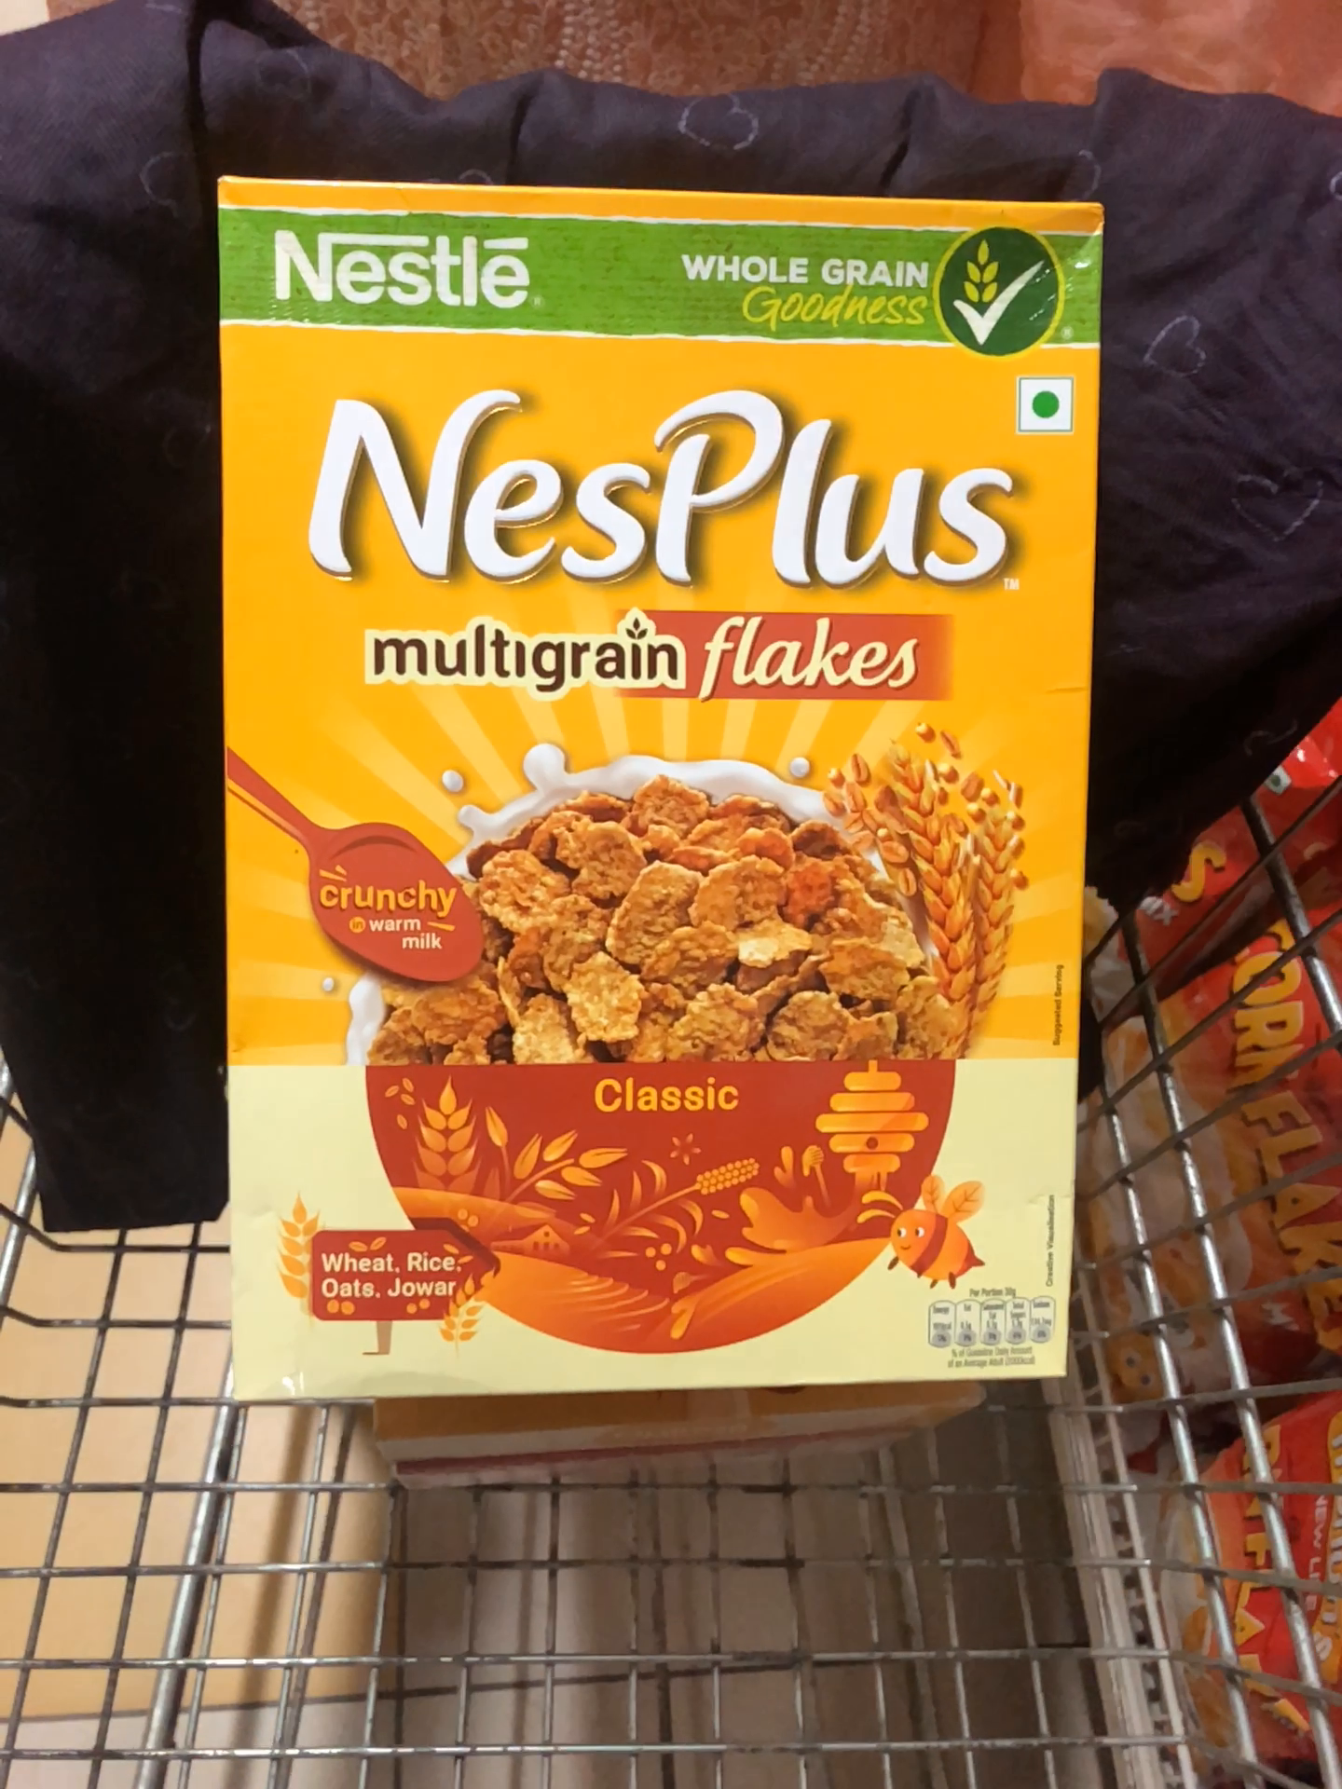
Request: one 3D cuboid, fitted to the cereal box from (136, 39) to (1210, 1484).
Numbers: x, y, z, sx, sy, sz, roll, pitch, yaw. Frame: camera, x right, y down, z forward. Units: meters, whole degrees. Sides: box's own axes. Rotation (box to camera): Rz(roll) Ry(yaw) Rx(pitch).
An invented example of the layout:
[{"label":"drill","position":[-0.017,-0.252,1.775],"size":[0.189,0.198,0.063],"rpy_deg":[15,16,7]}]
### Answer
[{"label":"cereal box","position":[-0.002,-0.022,0.320],"size":[0.190,0.080,0.260],"rpy_deg":[0,99,-8]}]
